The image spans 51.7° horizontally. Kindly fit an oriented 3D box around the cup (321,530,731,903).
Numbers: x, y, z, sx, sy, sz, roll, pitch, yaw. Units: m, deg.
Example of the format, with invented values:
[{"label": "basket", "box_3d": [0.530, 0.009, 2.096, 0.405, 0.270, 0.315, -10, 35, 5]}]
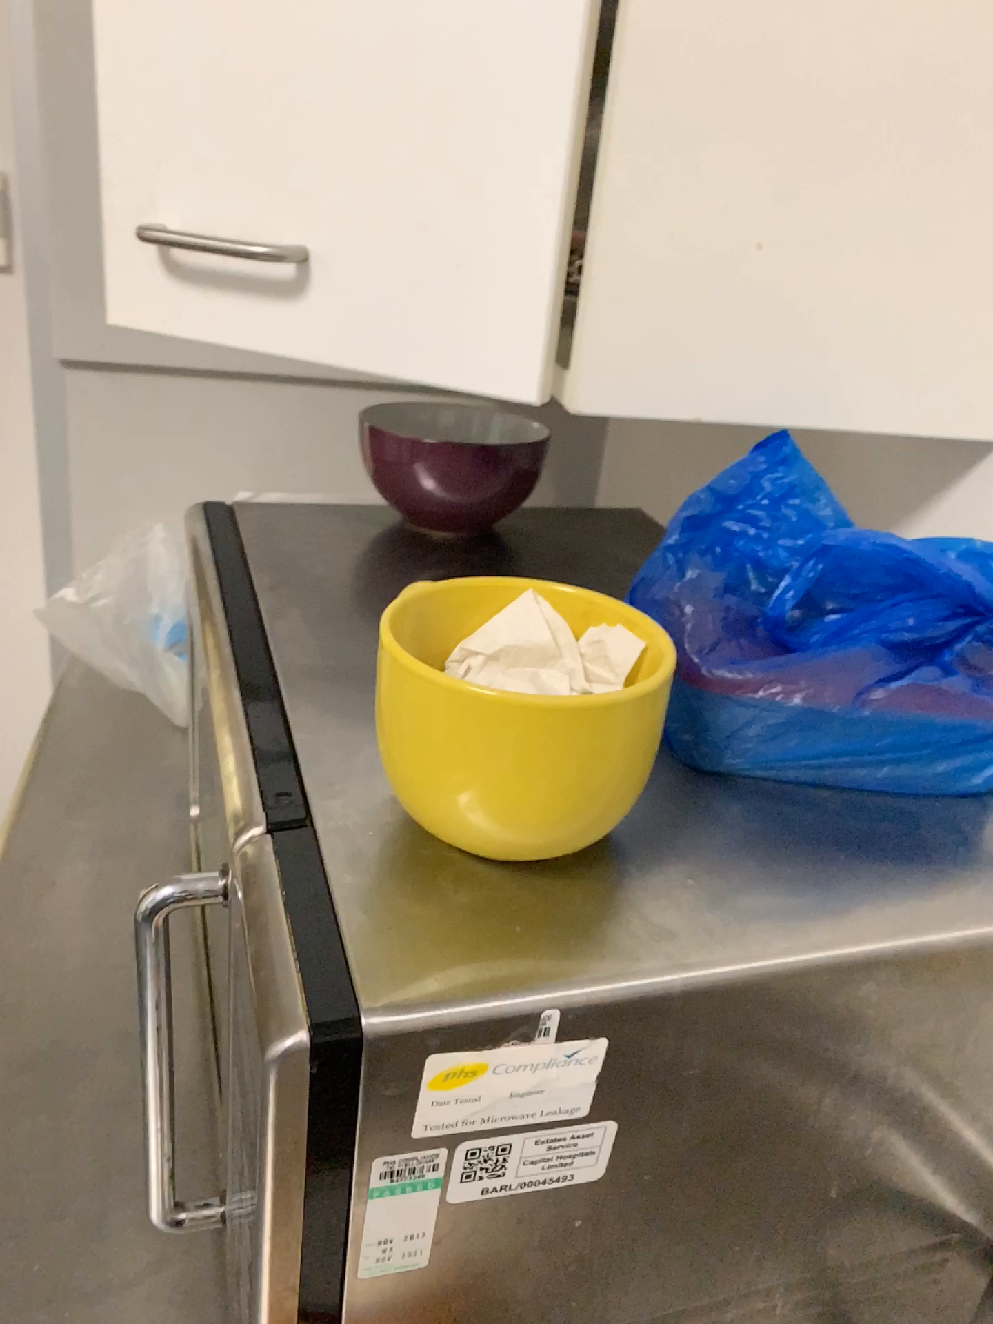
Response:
[{"label": "cup", "box_3d": [-0.001, 0.011, 0.423, 0.116, 0.082, 0.155, -2, 26, -19]}]
